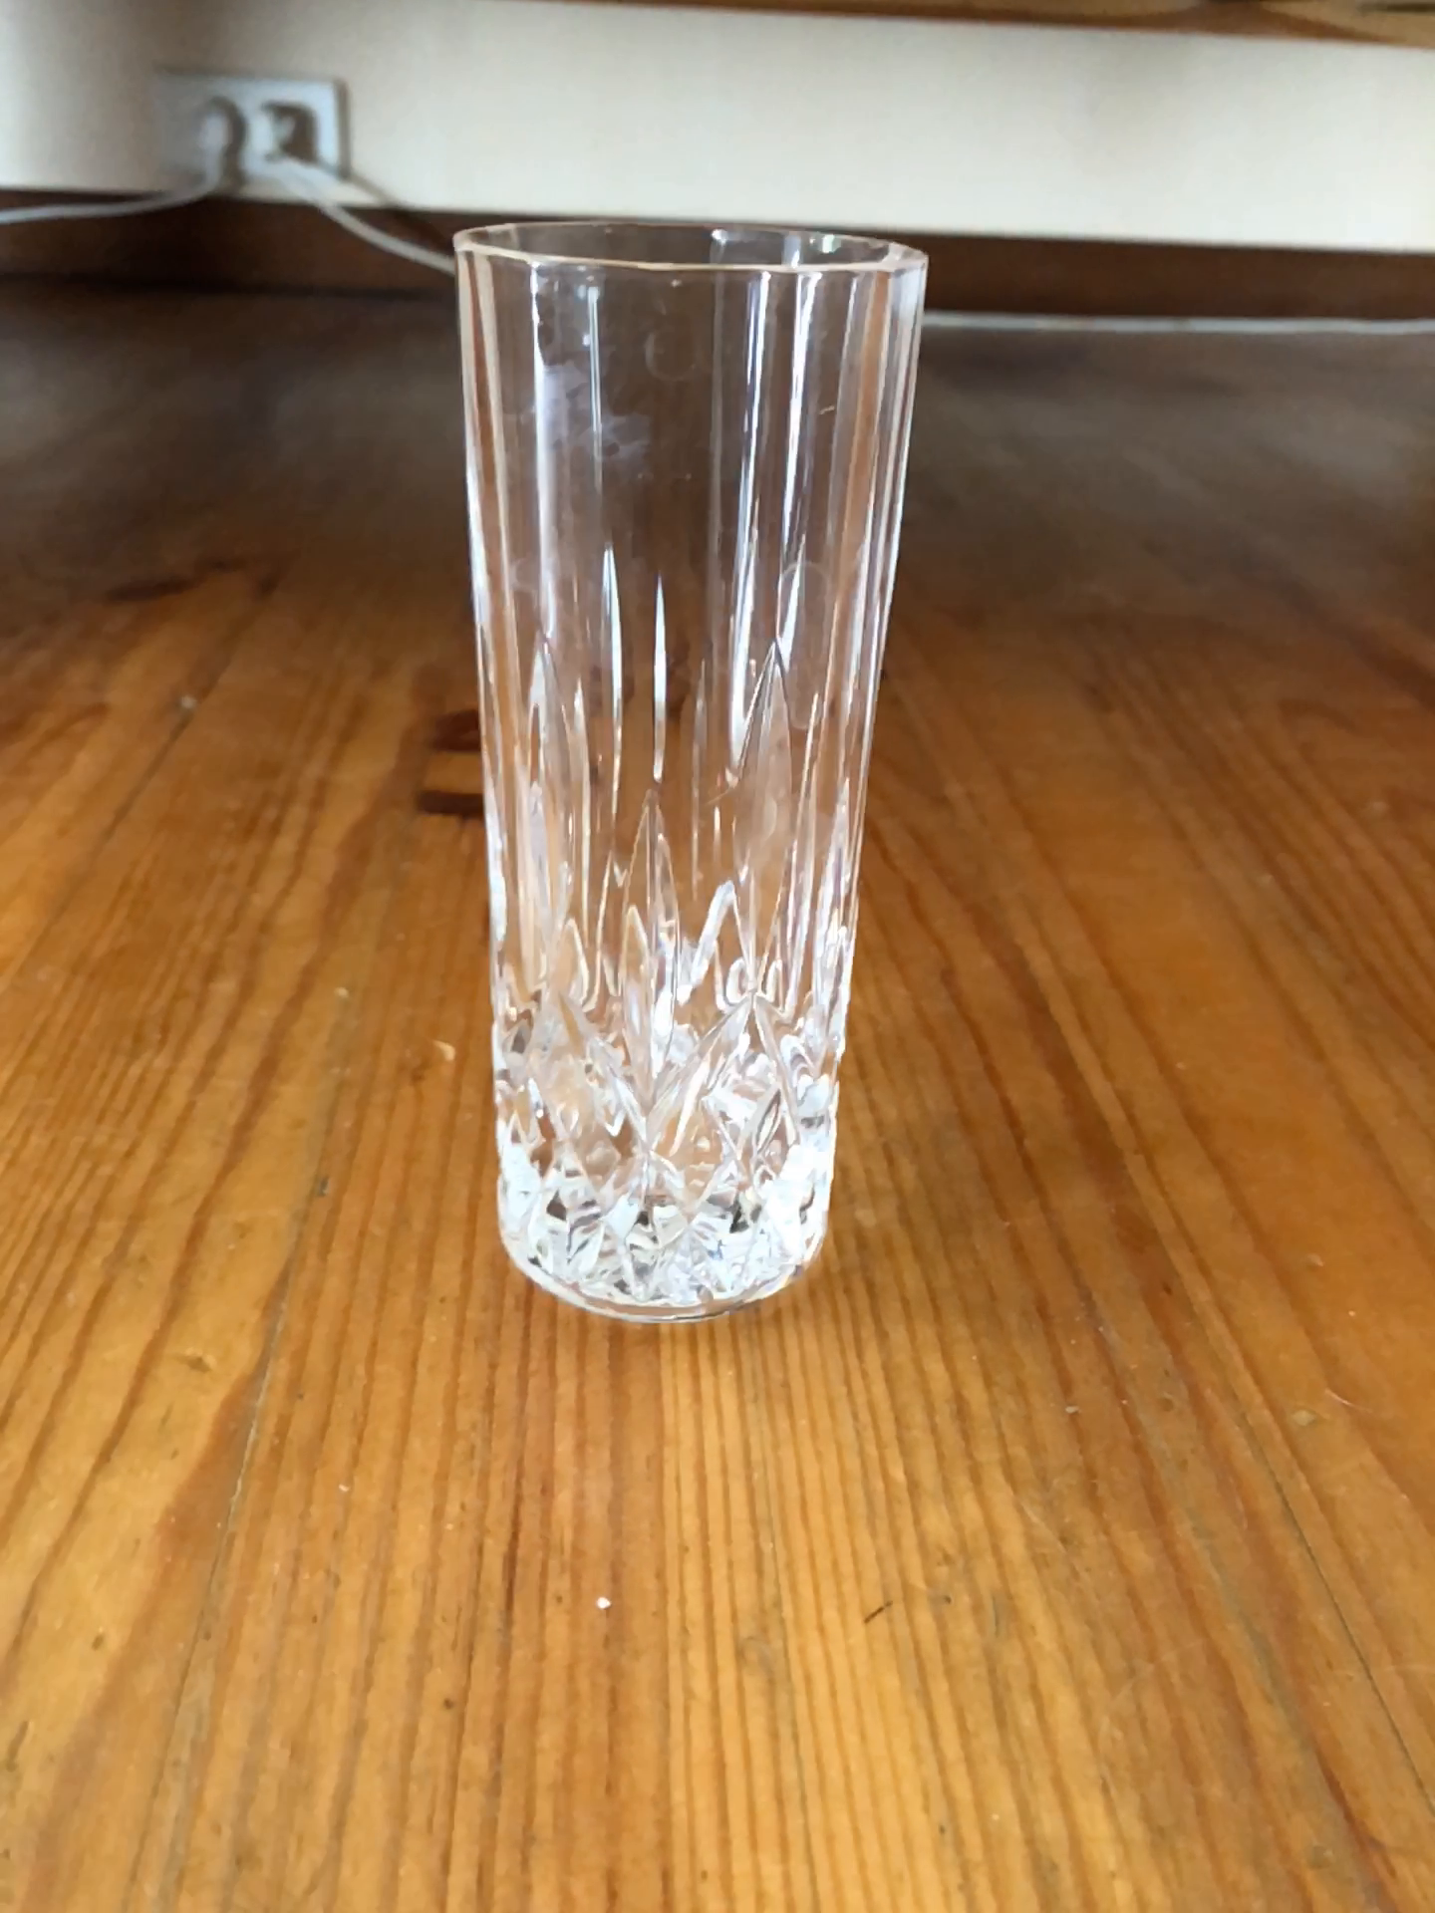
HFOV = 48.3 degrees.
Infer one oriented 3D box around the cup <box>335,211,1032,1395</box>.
[{"bbox_3d":[-0.005,-0.023,0.227,0.059,0.144,0.064,3,28,-1],"label":"cup"}]
